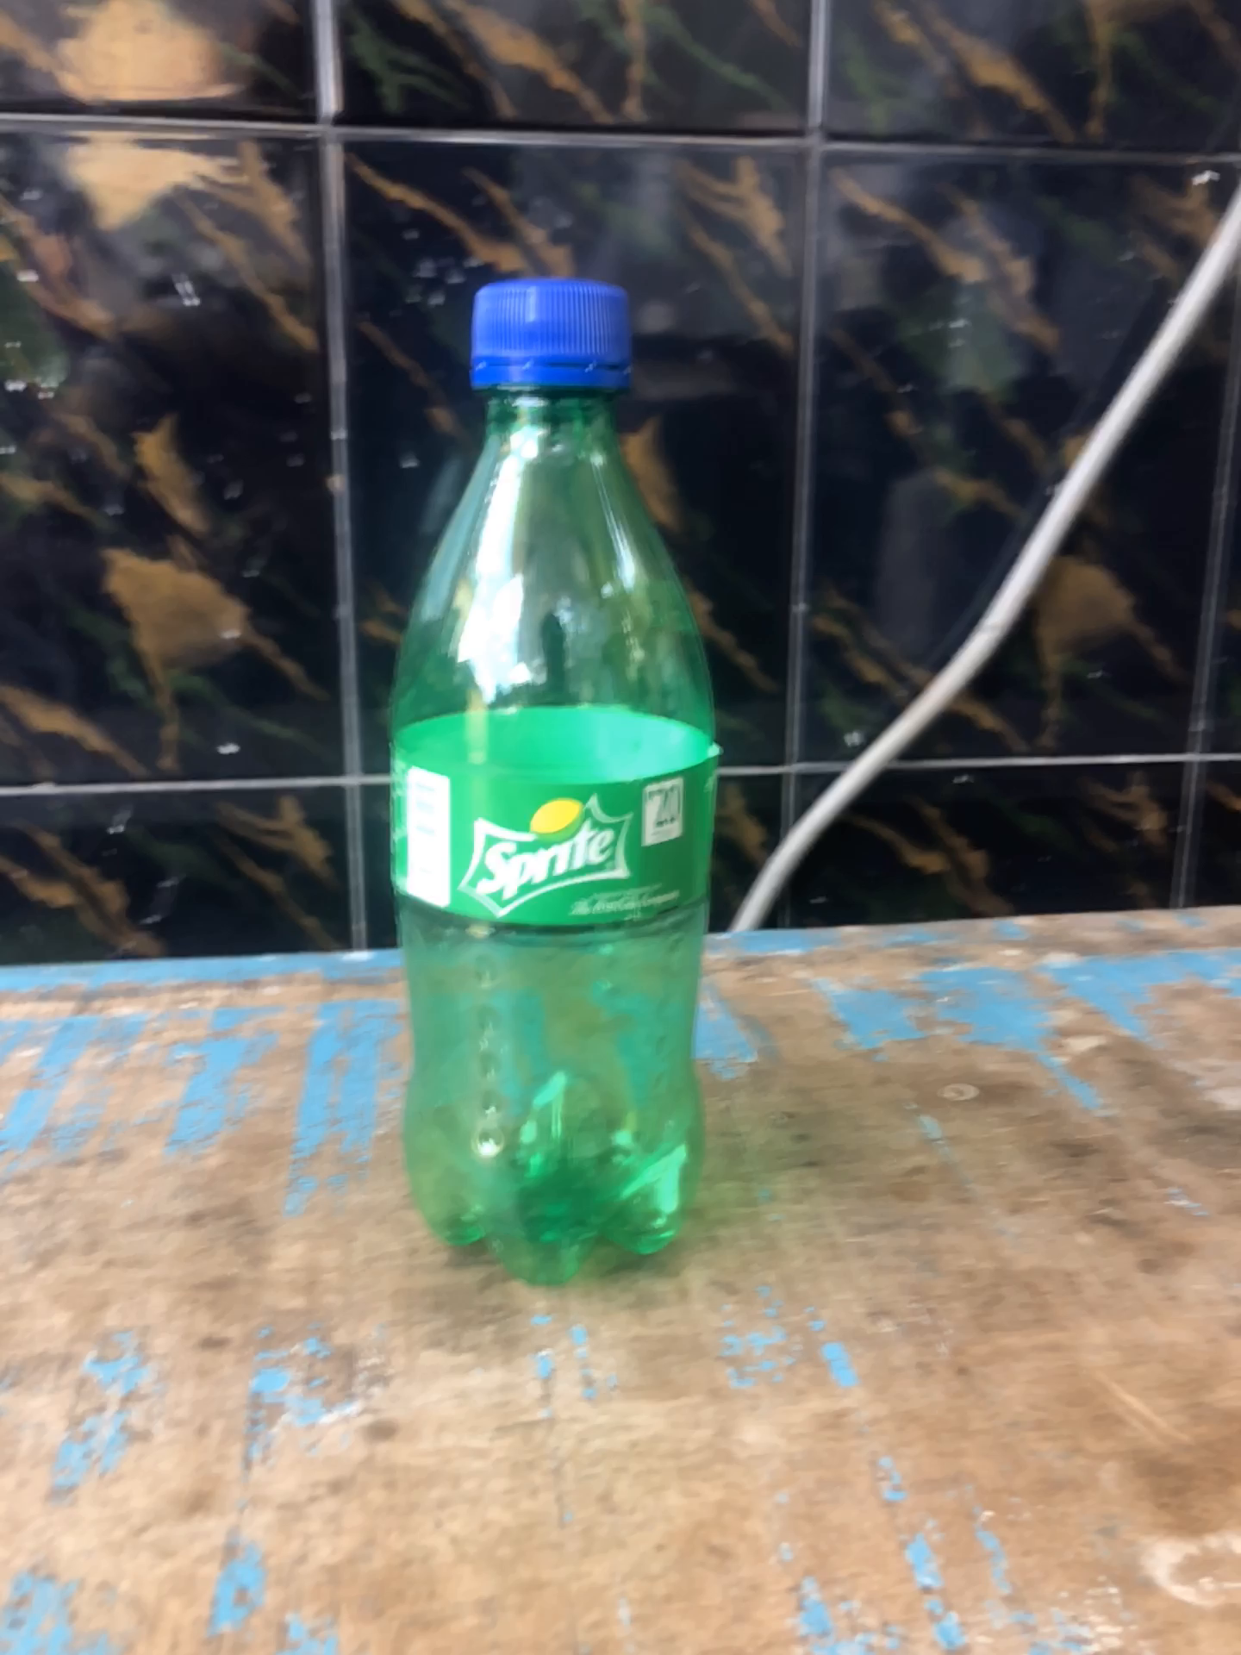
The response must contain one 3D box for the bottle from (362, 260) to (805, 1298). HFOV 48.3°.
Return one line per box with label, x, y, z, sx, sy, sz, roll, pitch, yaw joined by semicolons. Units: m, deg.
bottle;-0.005;-0.006;0.232;0.060;0.159;0.050;0;15;0
